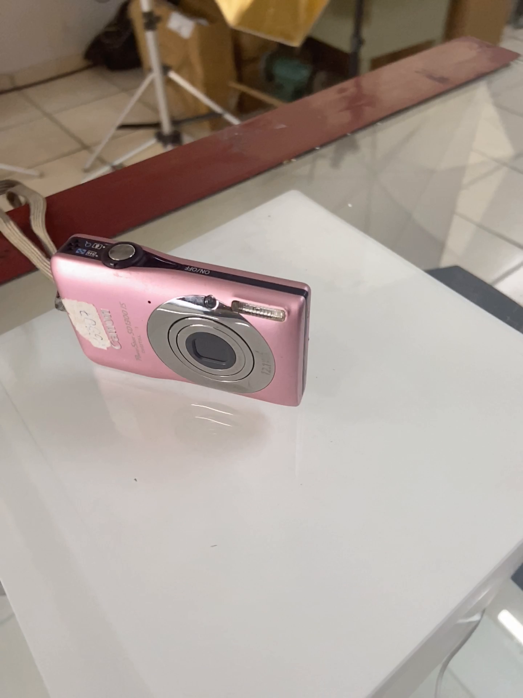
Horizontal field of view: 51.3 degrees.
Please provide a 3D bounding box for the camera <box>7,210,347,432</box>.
[{"bbox_3d":[-0.026,-0.010,0.187,0.100,0.050,0.030,12,49,10],"label":"camera"}]
